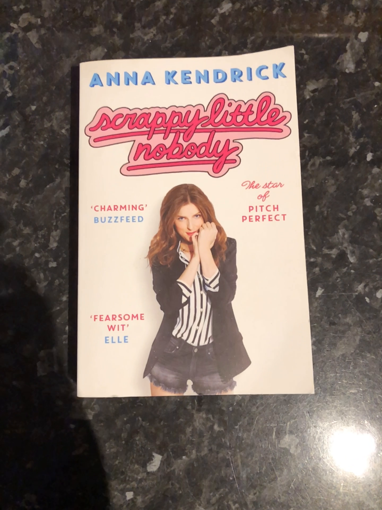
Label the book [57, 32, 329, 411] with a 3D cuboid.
[{"bbox_3d":[-0.001,-0.022,0.257,0.140,0.050,0.210,-1,82,-2],"label":"book"}]
